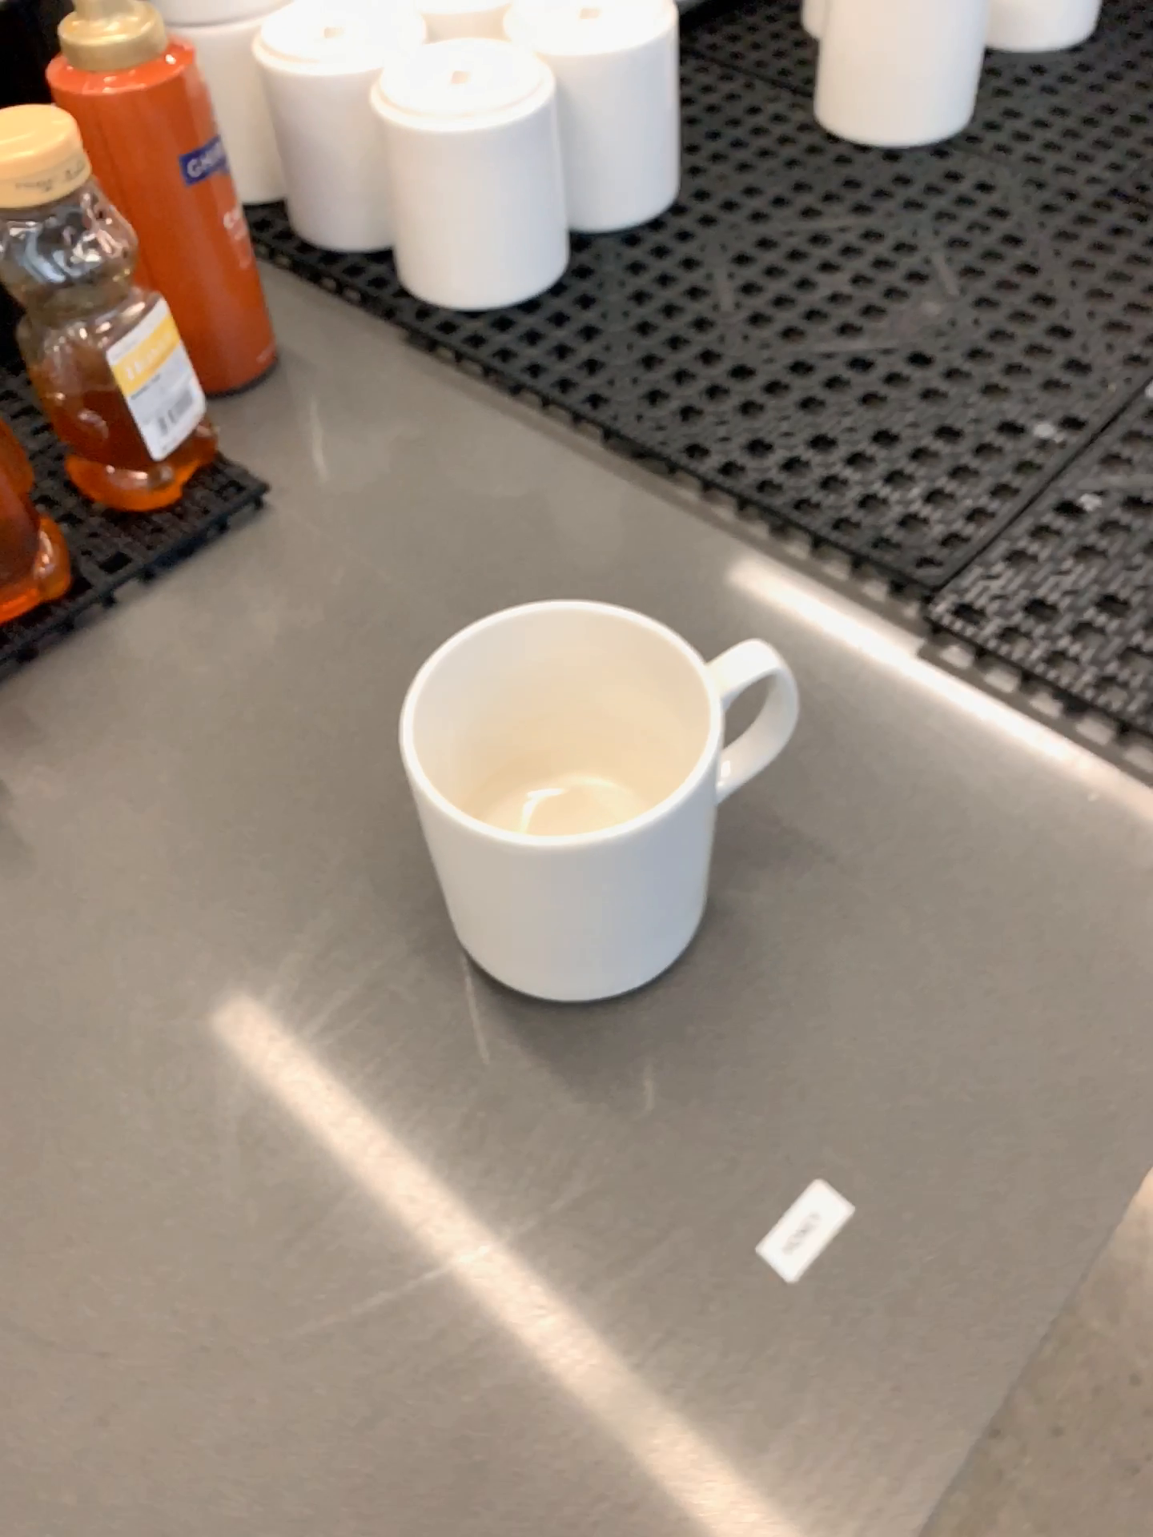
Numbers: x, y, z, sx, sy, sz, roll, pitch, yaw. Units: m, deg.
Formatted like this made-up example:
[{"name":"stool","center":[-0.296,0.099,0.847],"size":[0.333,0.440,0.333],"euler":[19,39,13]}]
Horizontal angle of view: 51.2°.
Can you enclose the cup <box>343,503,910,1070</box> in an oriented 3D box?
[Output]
[{"name":"cup","center":[0.013,0.004,0.352],"size":[0.120,0.090,0.090],"euler":[-26,55,-15]}]
